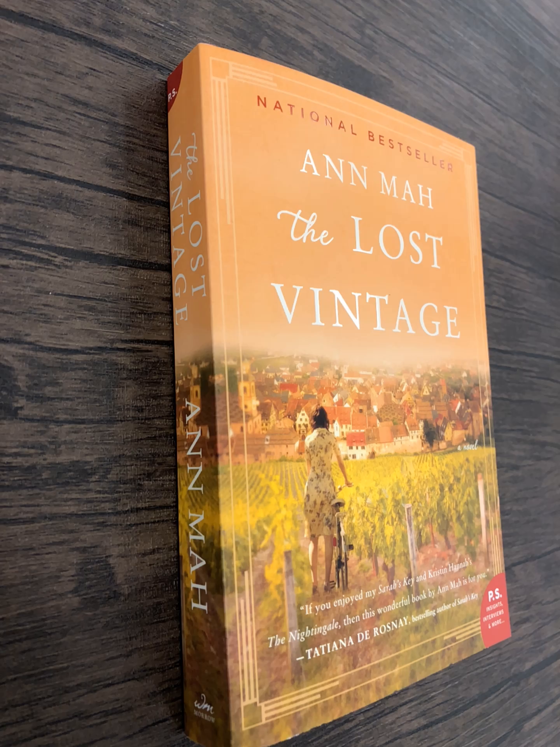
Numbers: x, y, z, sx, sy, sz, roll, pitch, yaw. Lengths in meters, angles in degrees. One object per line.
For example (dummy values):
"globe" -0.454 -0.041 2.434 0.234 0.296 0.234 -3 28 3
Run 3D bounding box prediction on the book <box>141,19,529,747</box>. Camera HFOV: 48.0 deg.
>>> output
"book" 0.025 0.007 0.219 0.134 0.040 0.200 2 84 -39
